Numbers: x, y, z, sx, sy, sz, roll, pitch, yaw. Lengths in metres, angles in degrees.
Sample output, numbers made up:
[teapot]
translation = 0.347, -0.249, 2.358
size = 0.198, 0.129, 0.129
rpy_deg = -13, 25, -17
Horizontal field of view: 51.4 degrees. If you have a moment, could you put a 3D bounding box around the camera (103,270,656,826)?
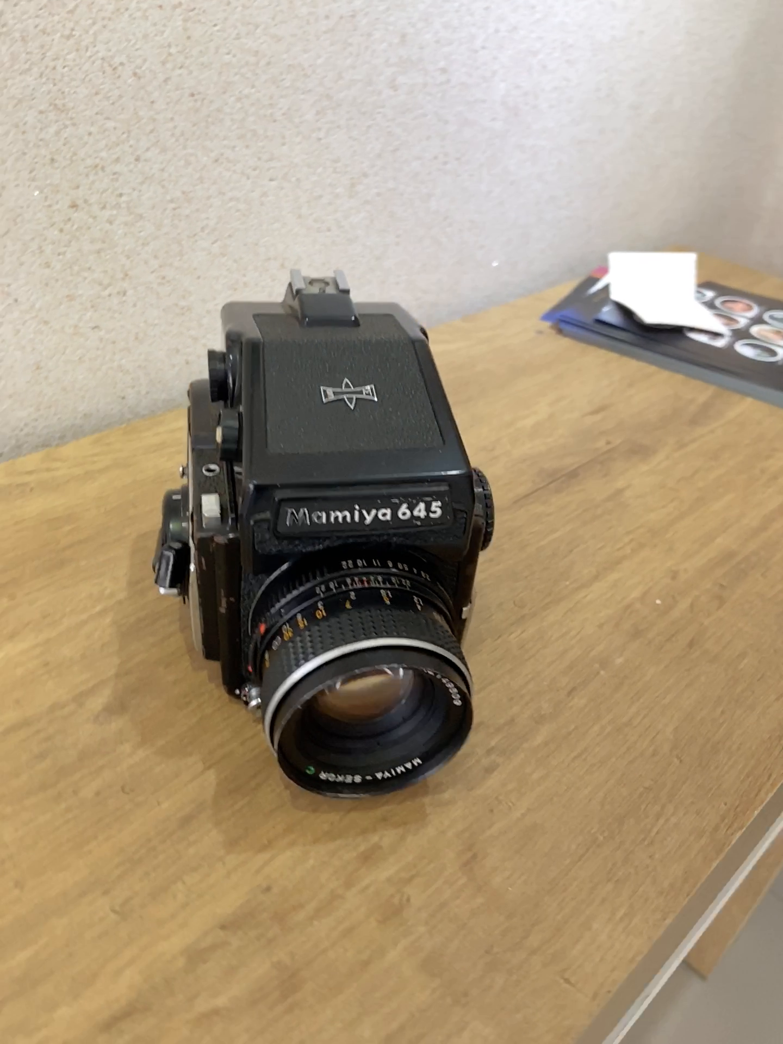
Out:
[camera]
translation = -0.017, -0.006, 0.283
size = 0.130, 0.109, 0.161
rpy_deg = -3, 37, -11
